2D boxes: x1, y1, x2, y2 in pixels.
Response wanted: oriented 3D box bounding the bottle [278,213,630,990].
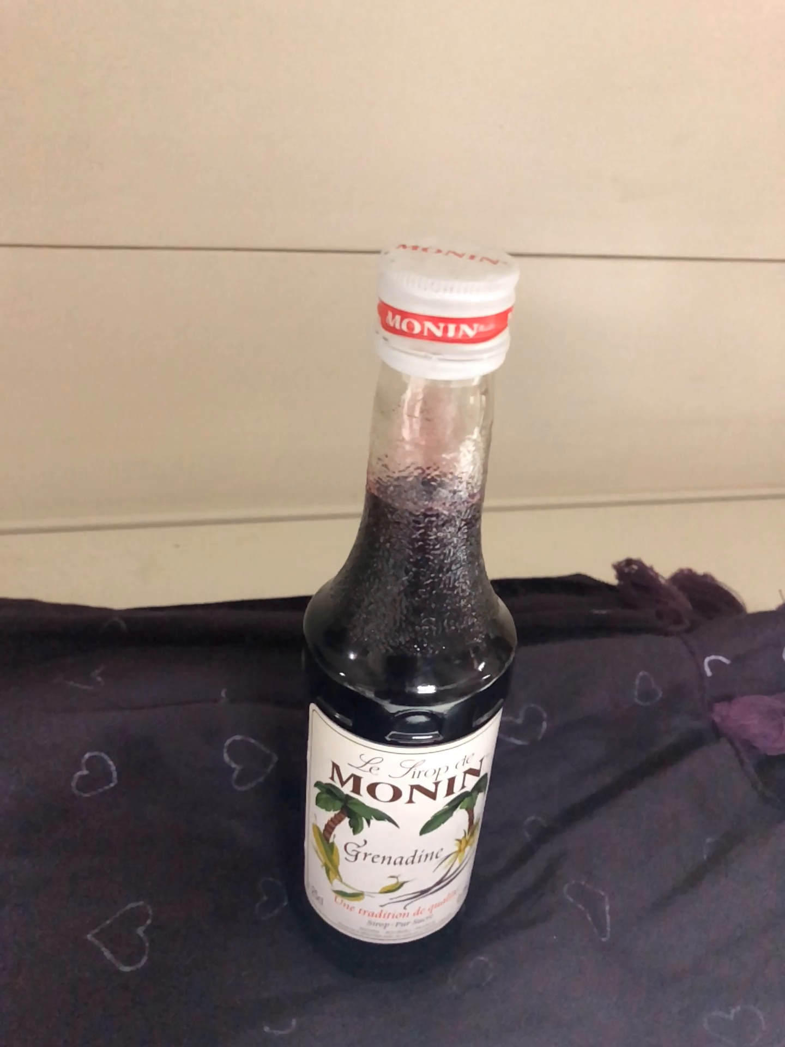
[{"bbox_3d":[0.002,0.029,0.231,0.060,0.199,0.060,3,29,-2],"label":"bottle"}]
